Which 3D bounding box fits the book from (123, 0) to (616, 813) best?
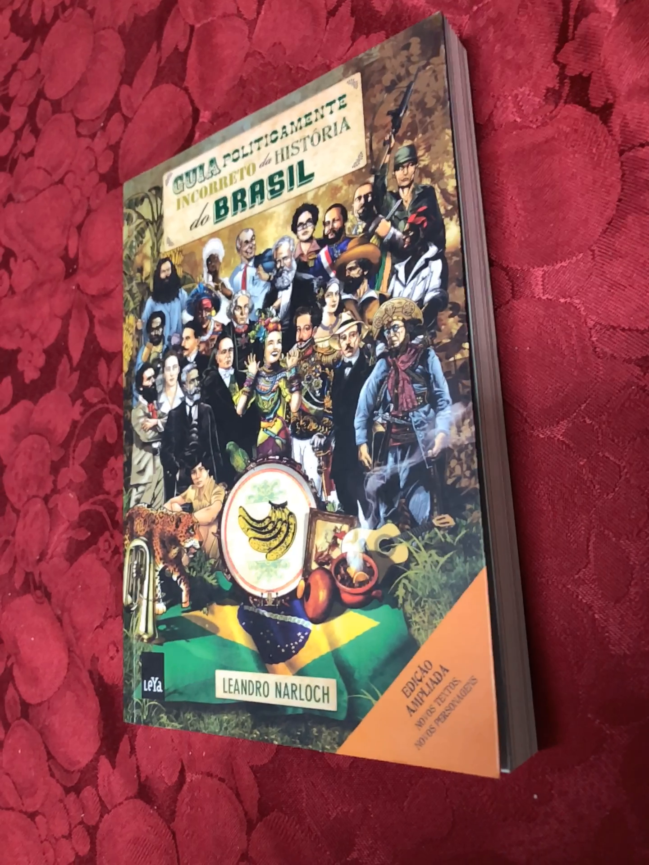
[{"bbox_3d":[-0.003,-0.009,0.249,0.161,0.030,0.230,-11,79,36],"label":"book"}]
